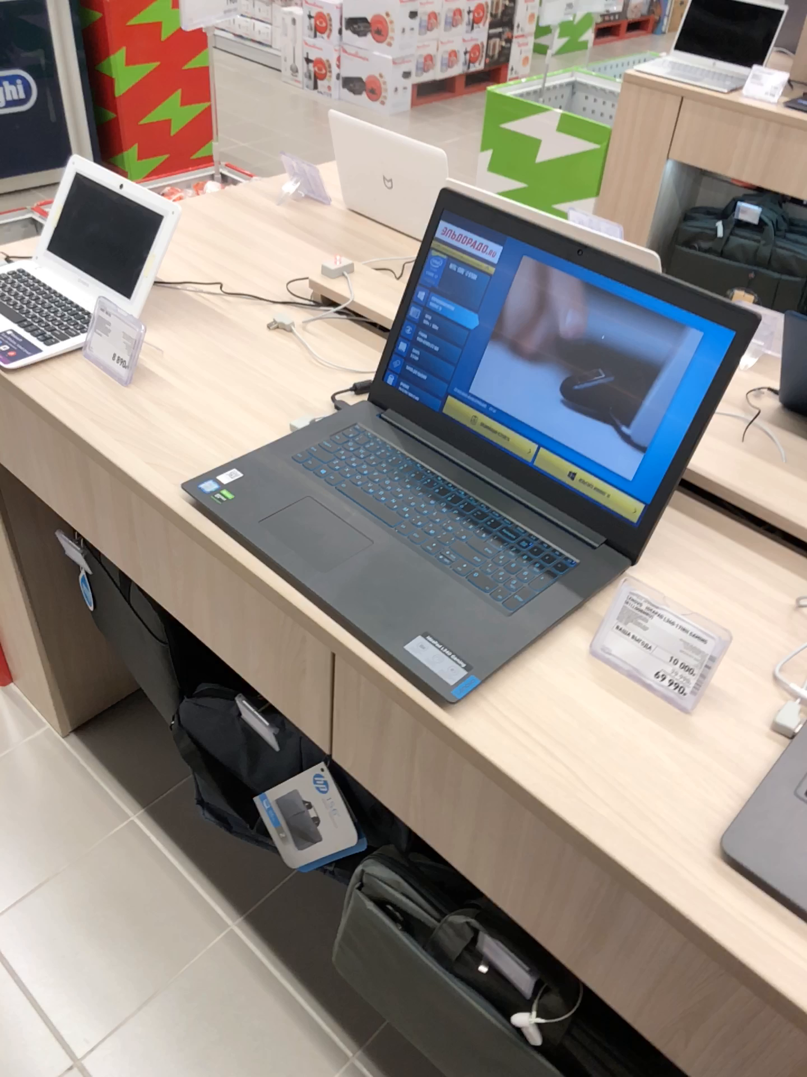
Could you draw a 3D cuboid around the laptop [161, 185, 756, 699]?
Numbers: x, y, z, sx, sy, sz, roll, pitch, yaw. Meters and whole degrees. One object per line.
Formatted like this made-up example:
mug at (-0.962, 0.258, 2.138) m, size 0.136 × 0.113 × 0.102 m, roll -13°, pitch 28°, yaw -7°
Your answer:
laptop at (0.045, -0.135, 0.891) m, size 0.396 × 0.242 × 0.381 m, roll 35°, pitch 49°, yaw 31°
